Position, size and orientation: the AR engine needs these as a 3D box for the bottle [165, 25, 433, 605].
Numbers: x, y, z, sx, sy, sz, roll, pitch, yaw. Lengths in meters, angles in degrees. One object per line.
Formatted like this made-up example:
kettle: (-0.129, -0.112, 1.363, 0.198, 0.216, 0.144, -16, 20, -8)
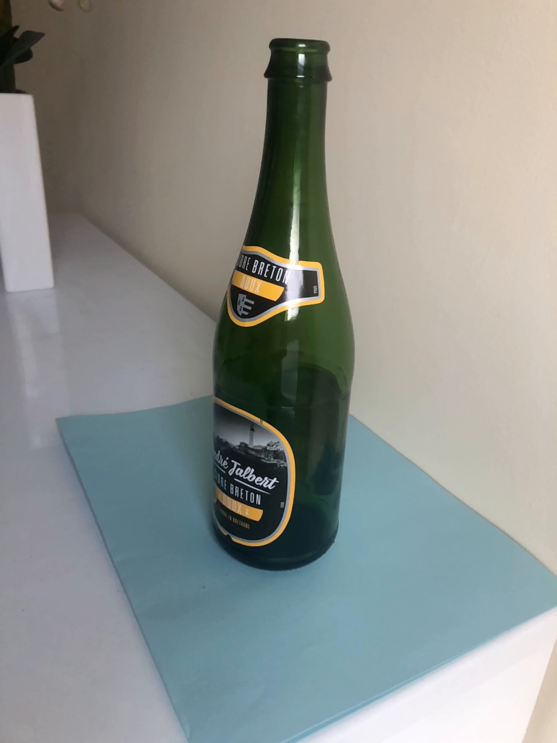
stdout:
bottle: (0.003, -0.024, 0.334, 0.080, 0.278, 0.090, -21, 34, -41)
